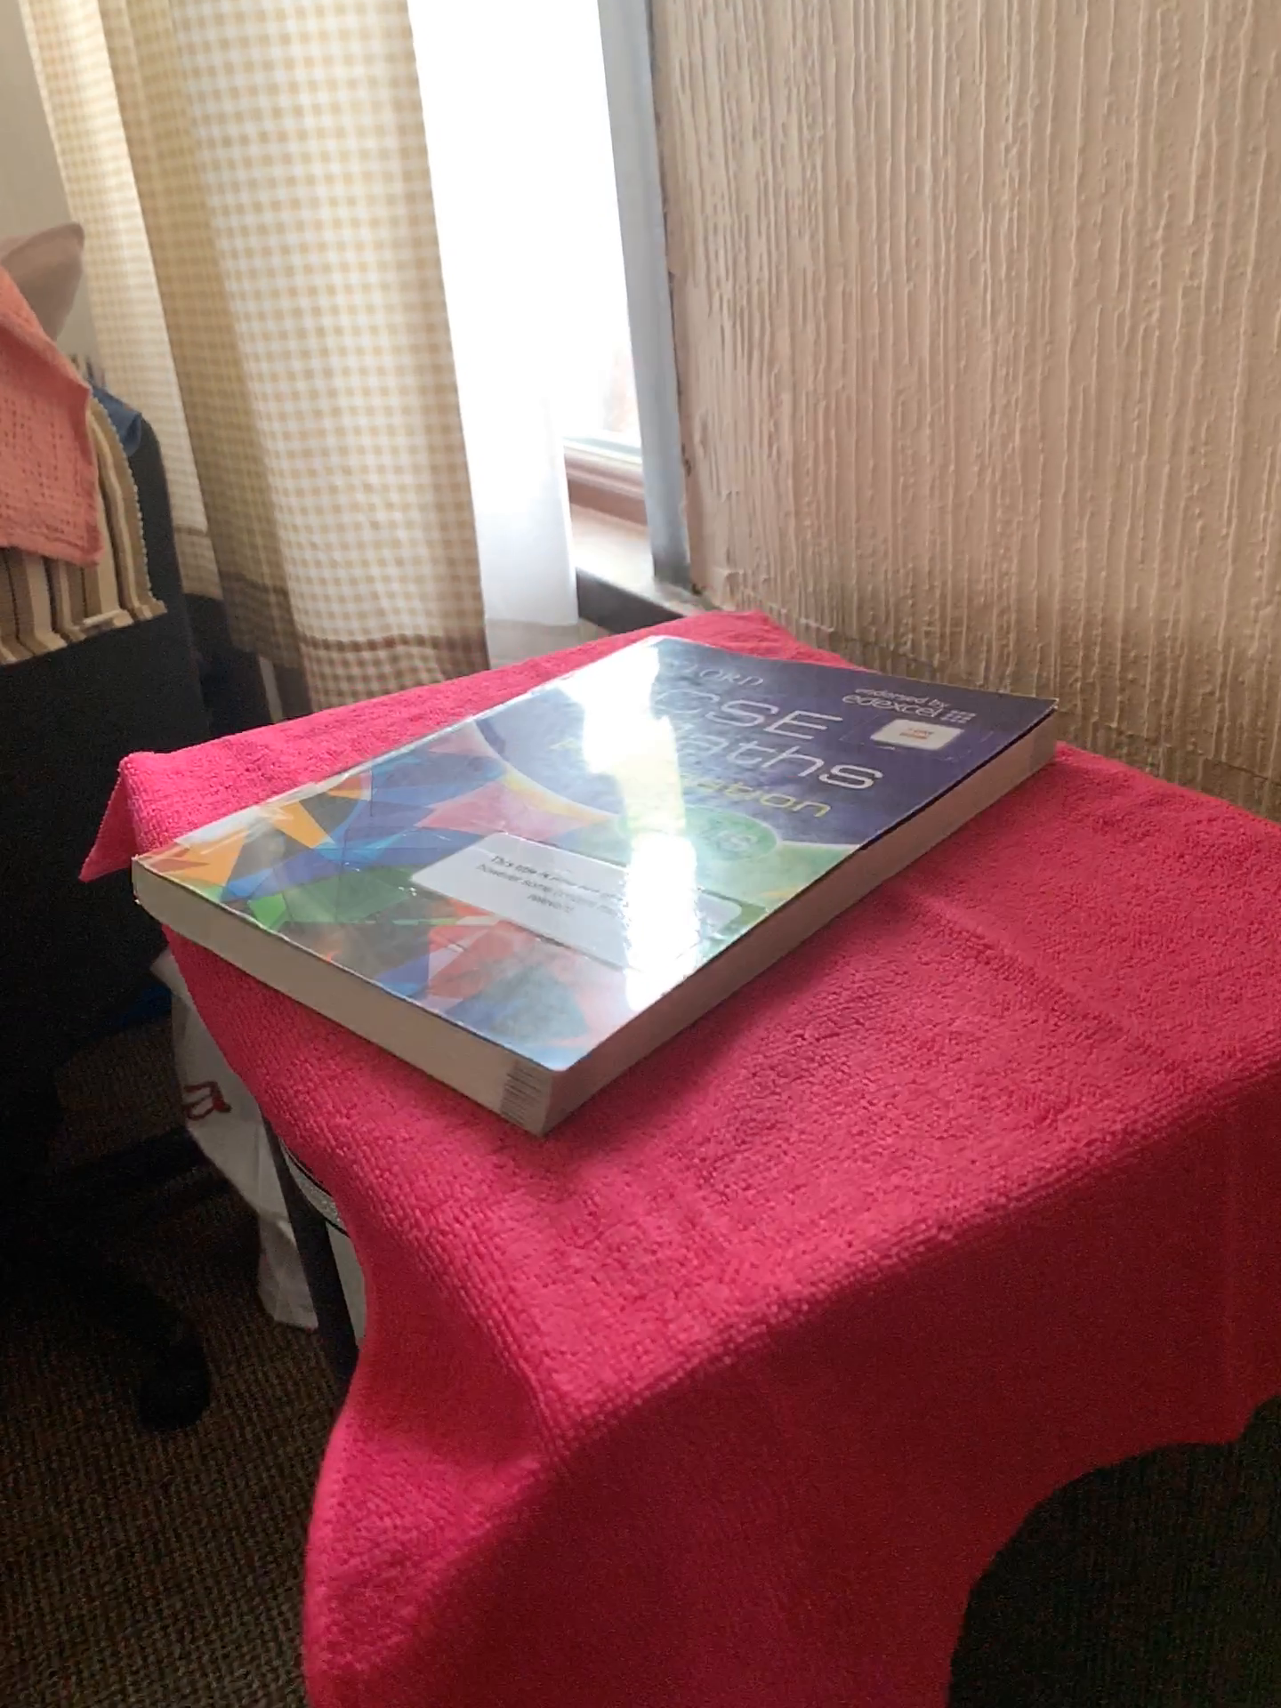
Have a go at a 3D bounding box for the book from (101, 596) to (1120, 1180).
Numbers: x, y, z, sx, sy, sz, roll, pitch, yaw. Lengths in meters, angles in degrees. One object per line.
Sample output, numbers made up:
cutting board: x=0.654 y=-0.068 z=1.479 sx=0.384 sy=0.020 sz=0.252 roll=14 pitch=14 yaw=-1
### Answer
book: x=0.000 y=-0.021 z=0.451 sx=0.211 sy=0.030 sz=0.281 roll=19 pitch=36 yaw=38
